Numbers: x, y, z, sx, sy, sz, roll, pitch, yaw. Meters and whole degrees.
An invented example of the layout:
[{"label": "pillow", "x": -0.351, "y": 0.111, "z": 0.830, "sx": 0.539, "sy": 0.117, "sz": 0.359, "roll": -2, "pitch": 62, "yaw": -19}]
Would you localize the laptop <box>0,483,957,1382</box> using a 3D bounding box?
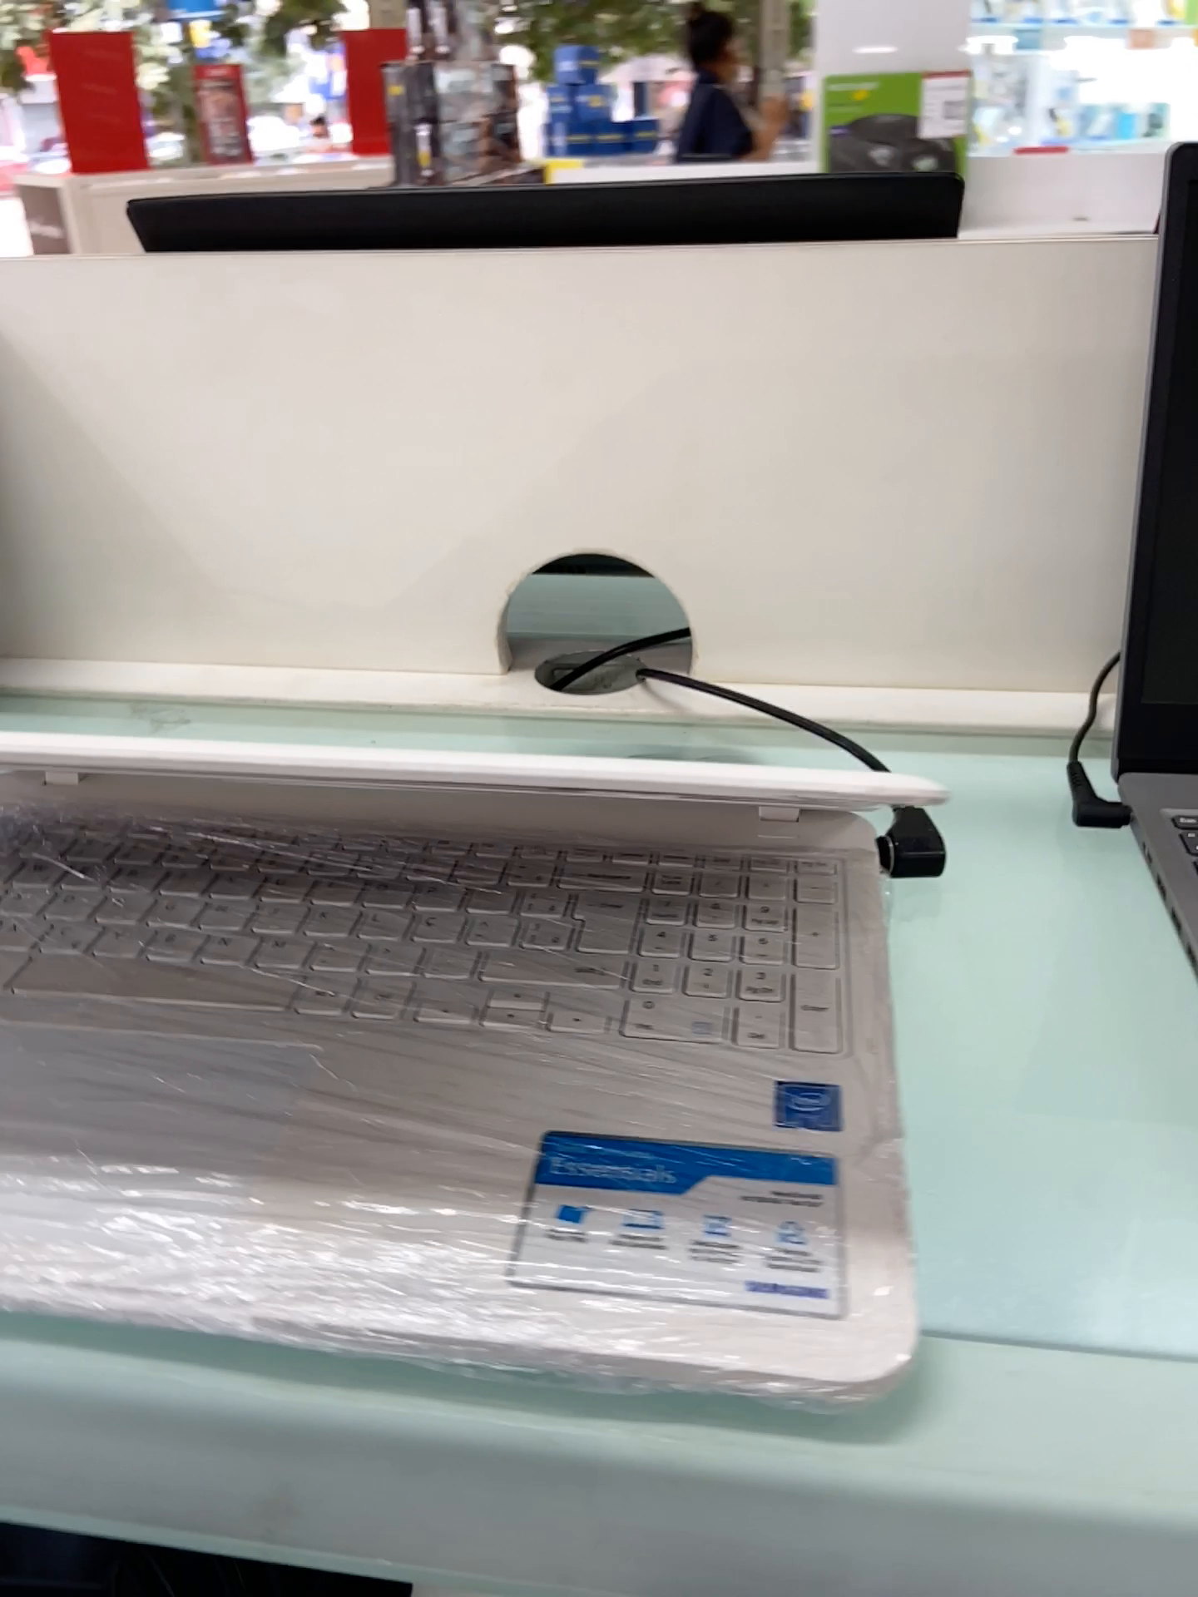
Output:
[{"label": "laptop", "x": -0.102, "y": 0.003, "z": 0.370, "sx": 0.372, "sy": 0.129, "sz": 0.248, "roll": 2, "pitch": 29, "yaw": 8}]
